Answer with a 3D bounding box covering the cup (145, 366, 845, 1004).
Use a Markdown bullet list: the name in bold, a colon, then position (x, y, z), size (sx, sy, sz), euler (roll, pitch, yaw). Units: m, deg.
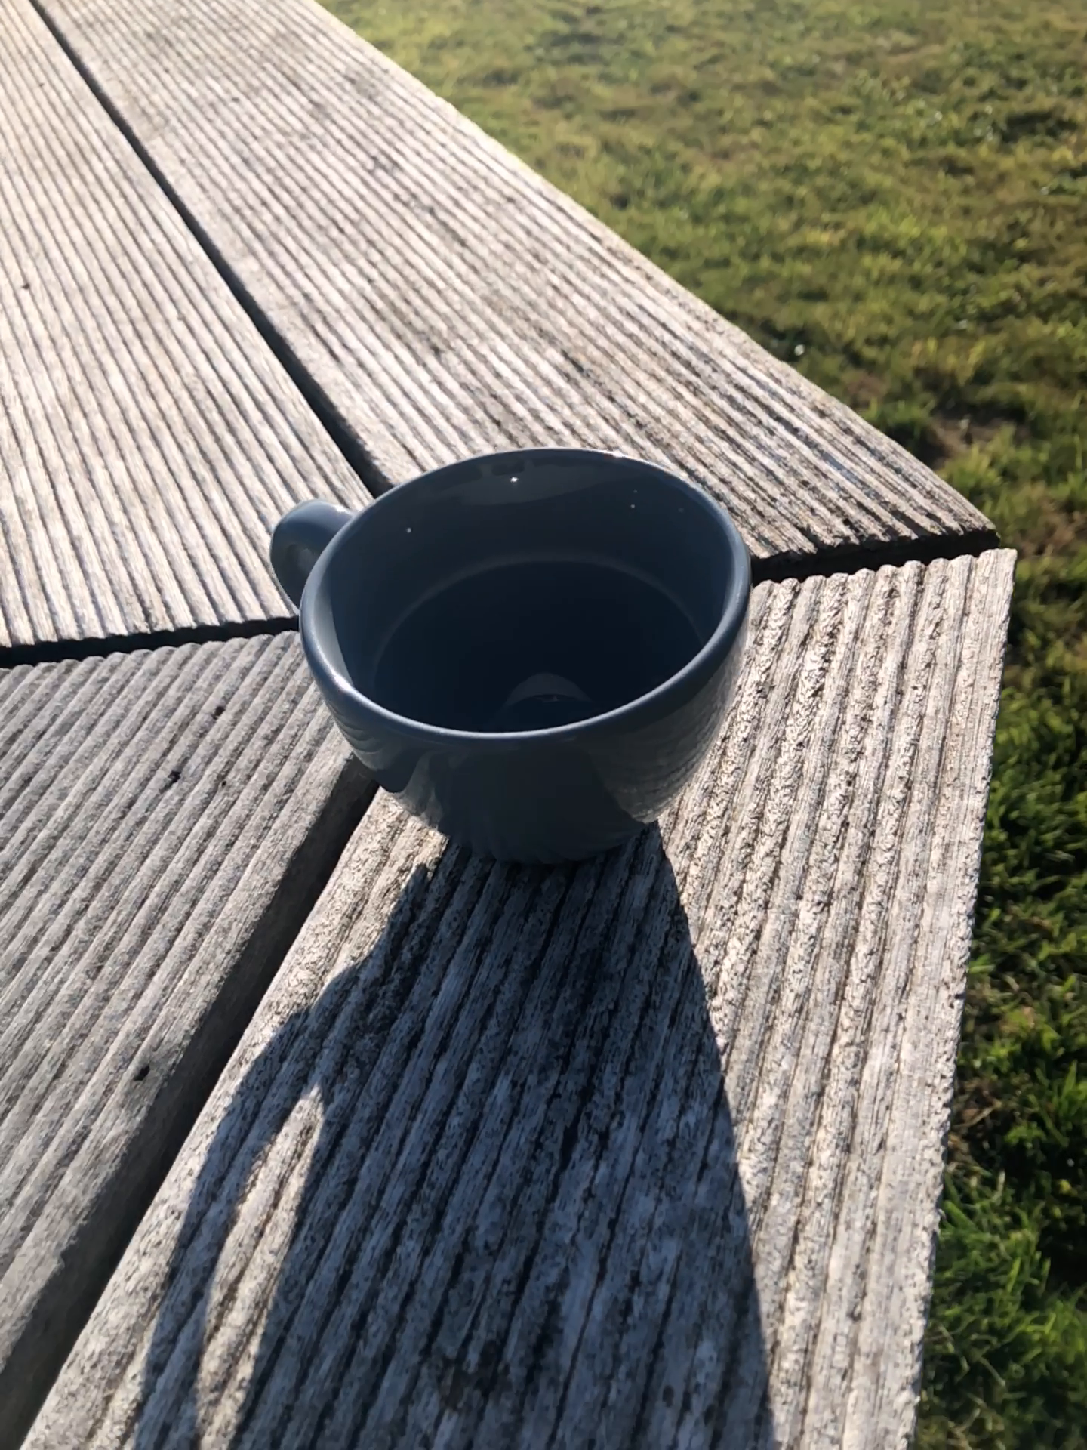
- **cup**: position (-0.010, -0.016, 0.254), size (0.091, 0.052, 0.105), euler (-36, 53, -25)
